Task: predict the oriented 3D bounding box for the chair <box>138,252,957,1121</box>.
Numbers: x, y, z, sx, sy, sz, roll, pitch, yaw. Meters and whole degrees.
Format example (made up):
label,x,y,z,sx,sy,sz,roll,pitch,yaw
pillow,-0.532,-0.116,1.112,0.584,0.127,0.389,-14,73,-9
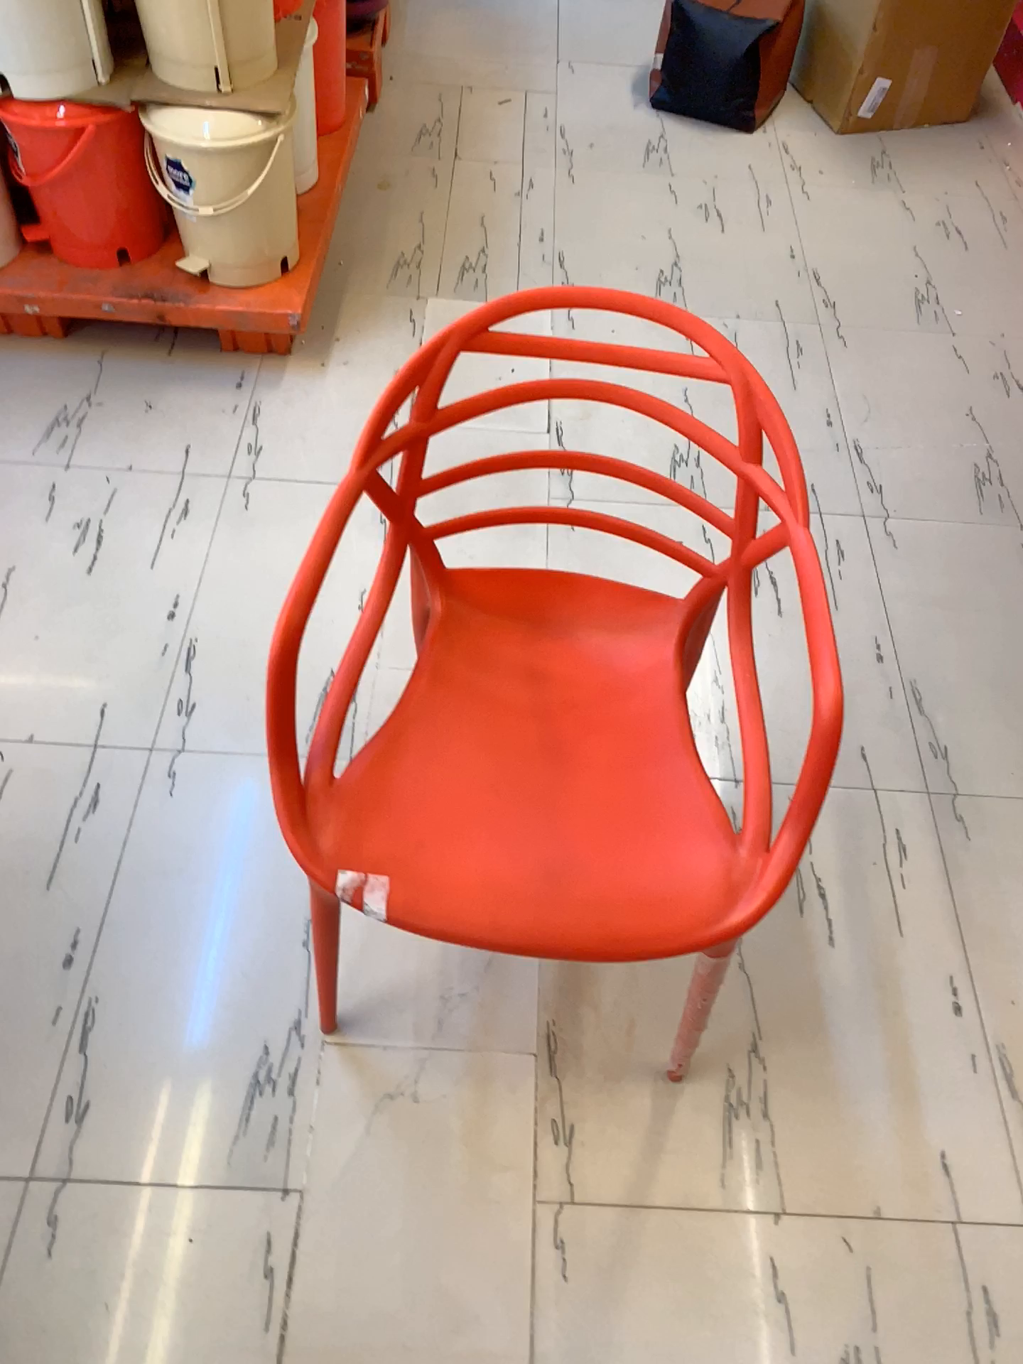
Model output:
label,x,y,z,sx,sy,sz,roll,pitch,yaw
chair,0.038,0.033,1.148,0.550,0.656,0.634,7,53,1
